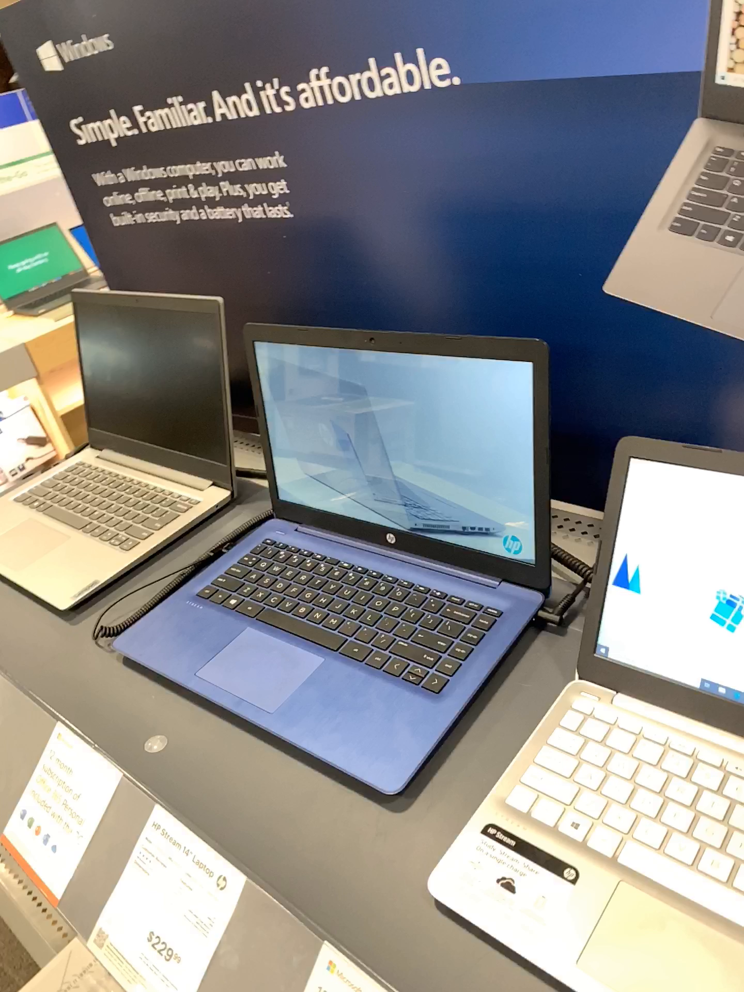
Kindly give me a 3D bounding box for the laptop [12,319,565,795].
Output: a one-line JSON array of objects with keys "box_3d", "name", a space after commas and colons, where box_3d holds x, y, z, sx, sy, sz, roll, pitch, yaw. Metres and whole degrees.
[{"box_3d": [-0.055, 0.012, 0.621, 0.323, 0.207, 0.252, 13, 40, 36], "name": "laptop"}]
